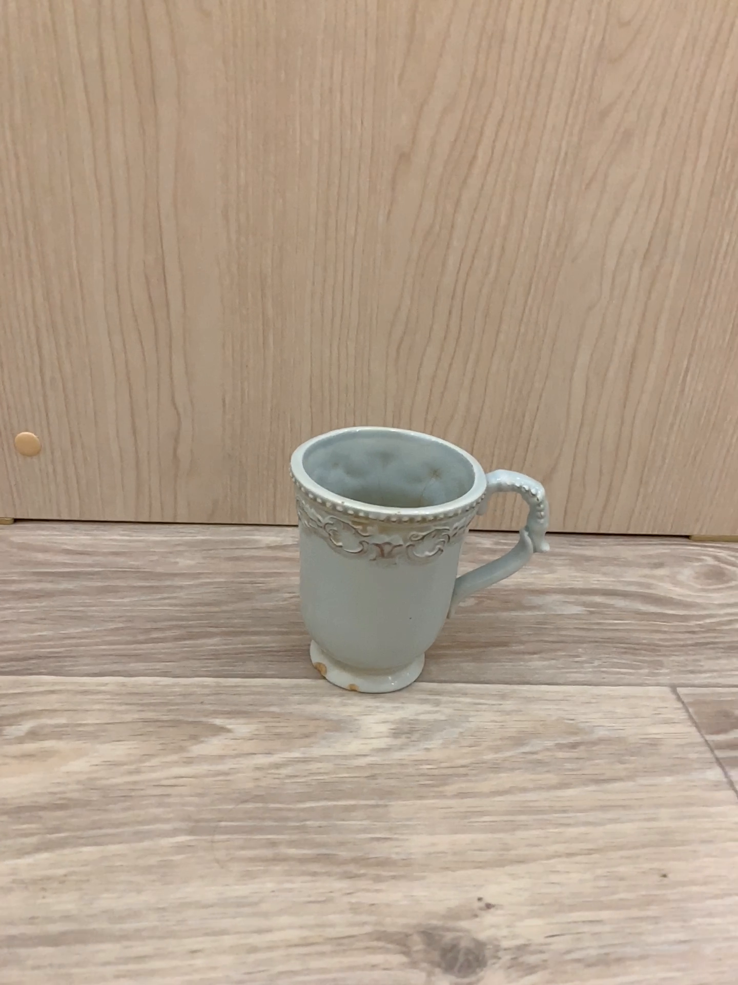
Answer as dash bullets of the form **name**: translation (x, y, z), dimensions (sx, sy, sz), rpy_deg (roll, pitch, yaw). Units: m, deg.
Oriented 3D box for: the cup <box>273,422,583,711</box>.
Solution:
- **cup**: translation (0.018, 0.030, 0.358), dimensions (0.118, 0.102, 0.083), rpy_deg (-1, 27, -11)
